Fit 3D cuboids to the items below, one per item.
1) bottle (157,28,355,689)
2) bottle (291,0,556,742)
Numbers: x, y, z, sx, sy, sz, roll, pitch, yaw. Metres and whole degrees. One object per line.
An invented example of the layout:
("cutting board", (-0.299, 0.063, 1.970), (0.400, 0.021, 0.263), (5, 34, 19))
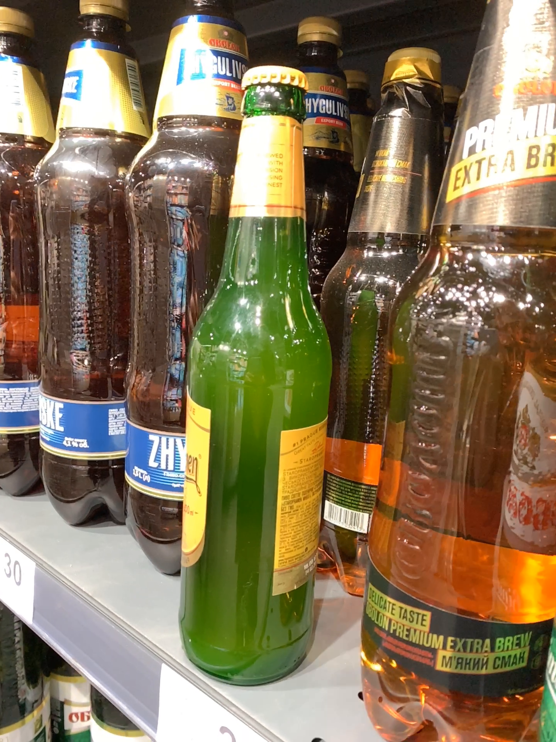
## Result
("bottle", (-0.012, 0.002, 0.252), (0.067, 0.255, 0.062), (2, 11, 0))
("bottle", (0.059, -0.003, 0.205), (0.075, 0.270, 0.066), (8, 12, 27))
